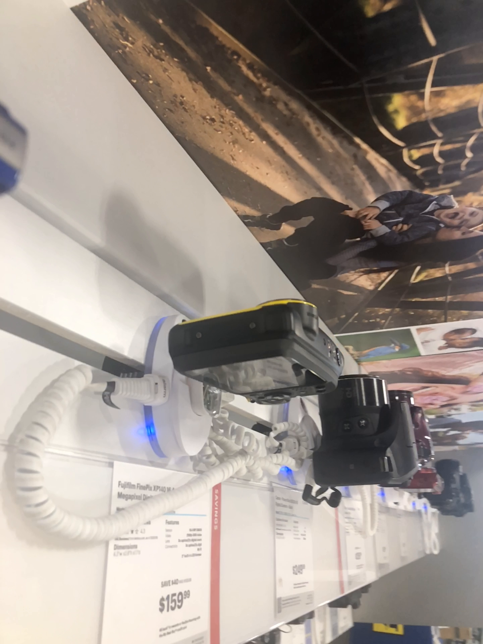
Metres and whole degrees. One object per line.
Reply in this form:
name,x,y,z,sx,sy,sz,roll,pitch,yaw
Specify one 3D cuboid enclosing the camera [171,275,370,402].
camera,0.021,0.015,0.285,0.111,0.070,0.030,36,48,-61
